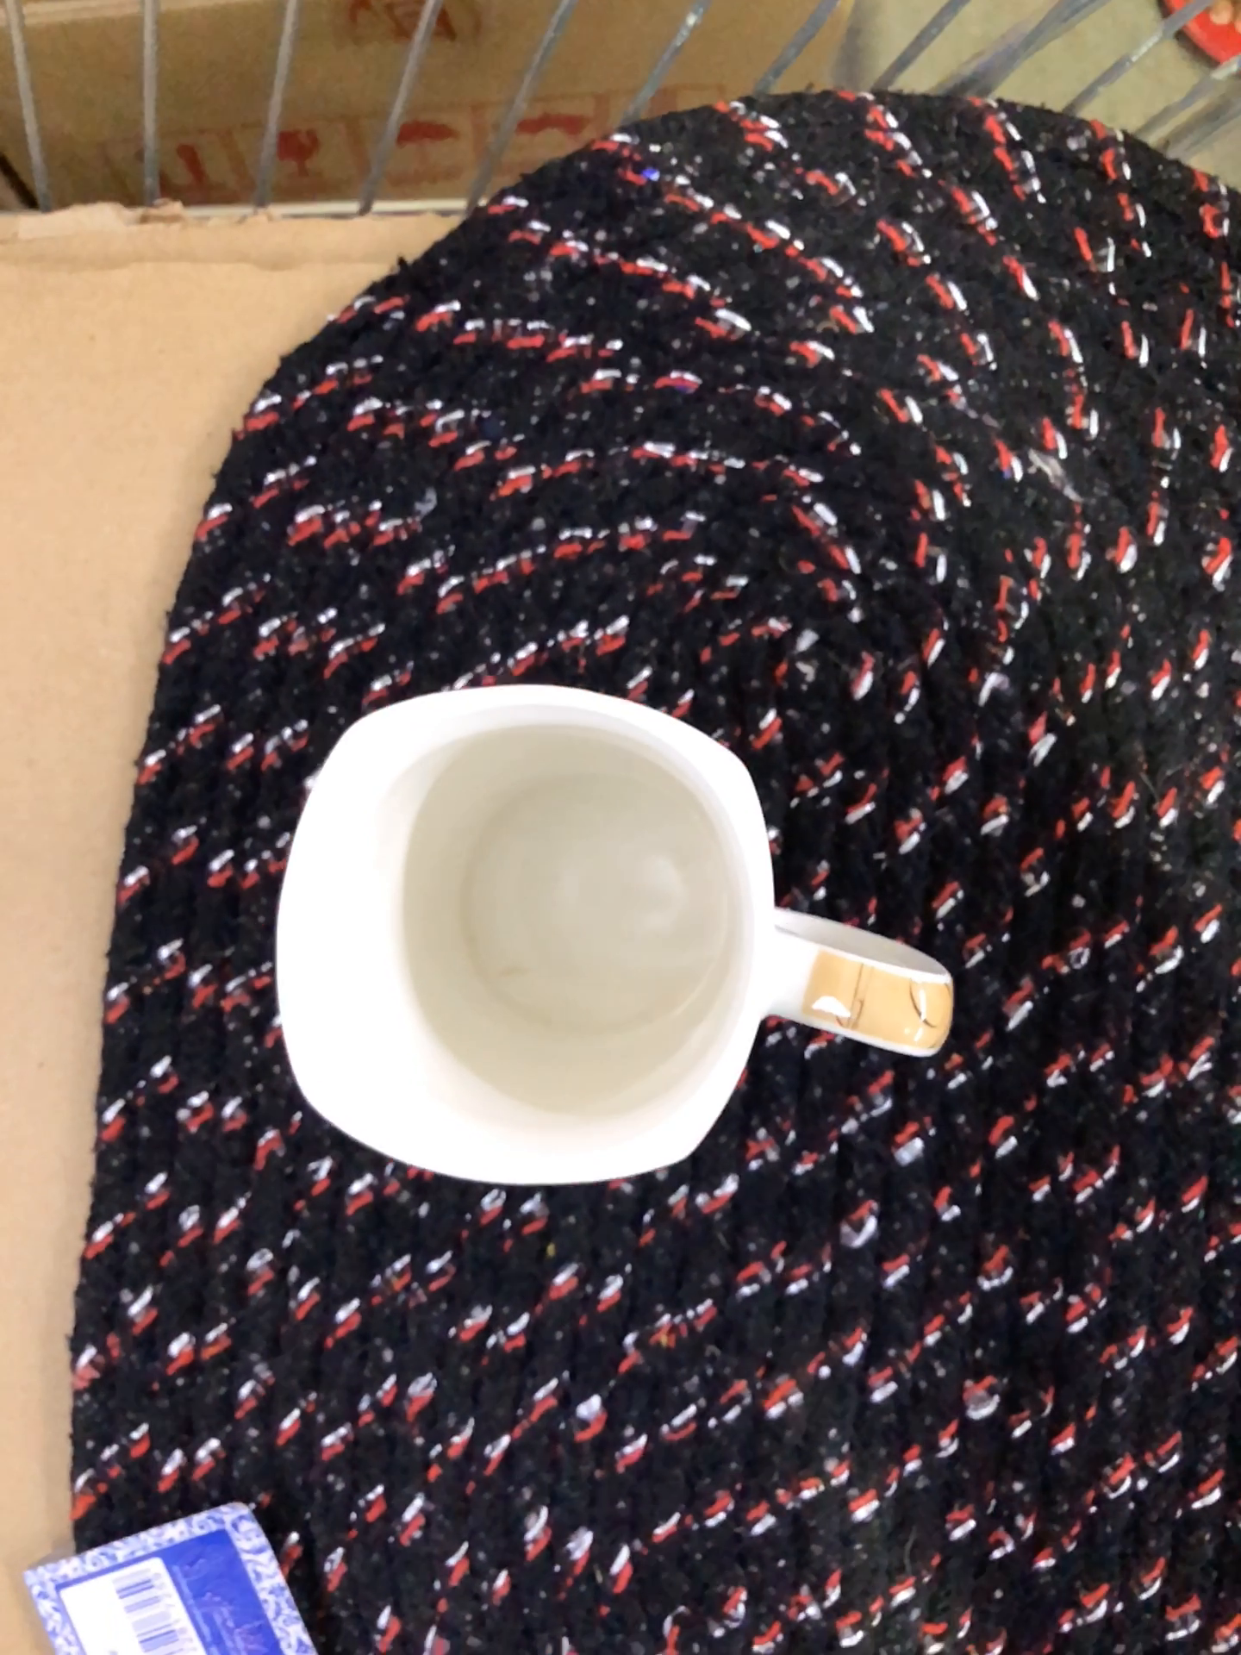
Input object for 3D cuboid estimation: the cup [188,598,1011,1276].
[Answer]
[{"bbox_3d":[0.001,0.017,0.259,0.120,0.080,0.090,8,88,9],"label":"cup"}]
